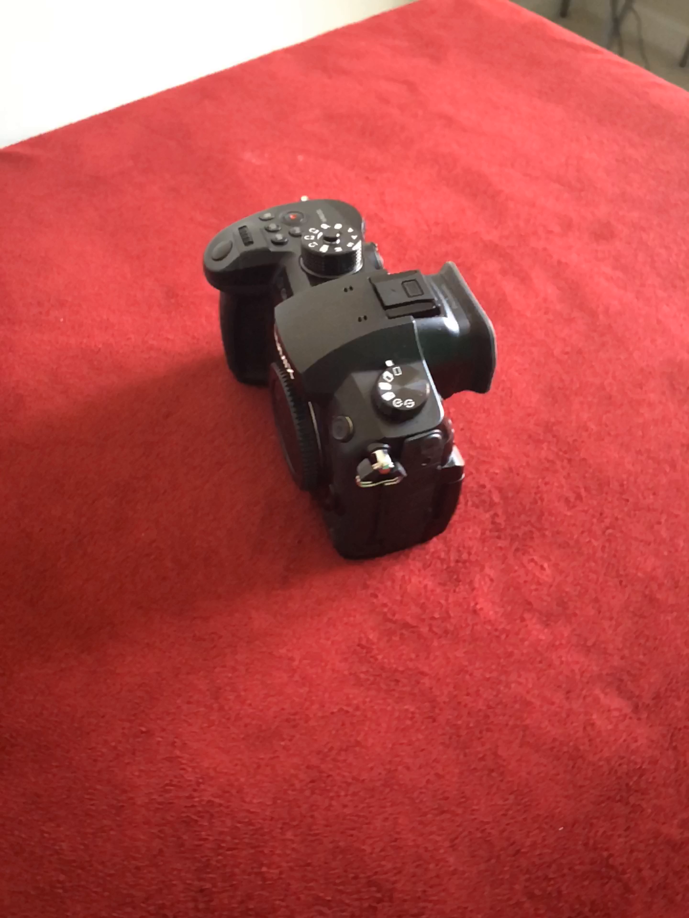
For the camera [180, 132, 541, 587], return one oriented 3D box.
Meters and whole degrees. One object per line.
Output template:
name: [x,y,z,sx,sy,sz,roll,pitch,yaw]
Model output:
camera: [-0.003,-0.044,0.307,0.085,0.087,0.148,-13,55,-11]
